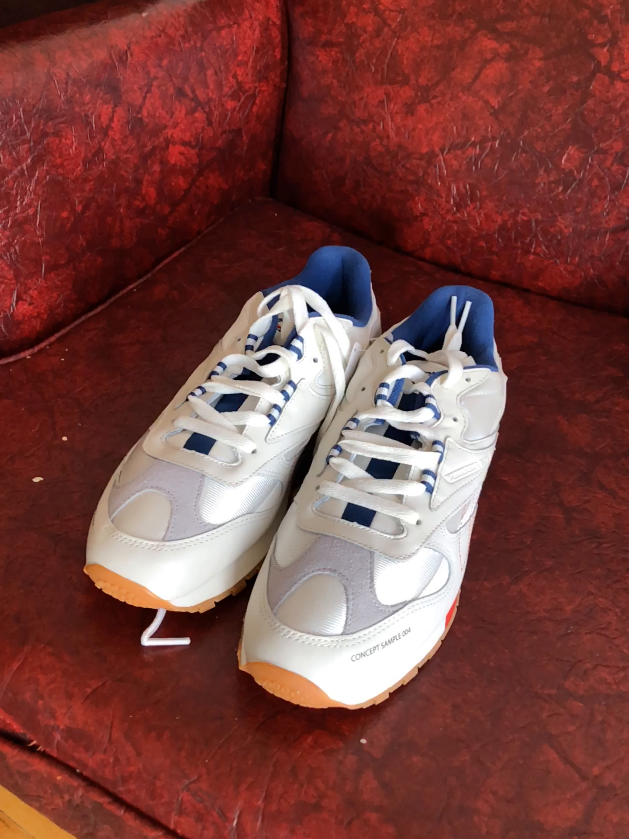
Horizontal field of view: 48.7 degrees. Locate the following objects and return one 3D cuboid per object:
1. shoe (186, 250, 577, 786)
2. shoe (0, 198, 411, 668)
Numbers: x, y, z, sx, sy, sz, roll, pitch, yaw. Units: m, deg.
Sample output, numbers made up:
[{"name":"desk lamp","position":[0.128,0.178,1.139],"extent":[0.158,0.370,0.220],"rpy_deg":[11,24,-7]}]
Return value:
[{"name":"shoe","position":[0.052,0.030,0.388],"extent":[0.110,0.099,0.272],"rpy_deg":[20,49,15]},{"name":"shoe","position":[-0.045,-0.014,0.420],"extent":[0.110,0.099,0.272],"rpy_deg":[20,49,15]}]
